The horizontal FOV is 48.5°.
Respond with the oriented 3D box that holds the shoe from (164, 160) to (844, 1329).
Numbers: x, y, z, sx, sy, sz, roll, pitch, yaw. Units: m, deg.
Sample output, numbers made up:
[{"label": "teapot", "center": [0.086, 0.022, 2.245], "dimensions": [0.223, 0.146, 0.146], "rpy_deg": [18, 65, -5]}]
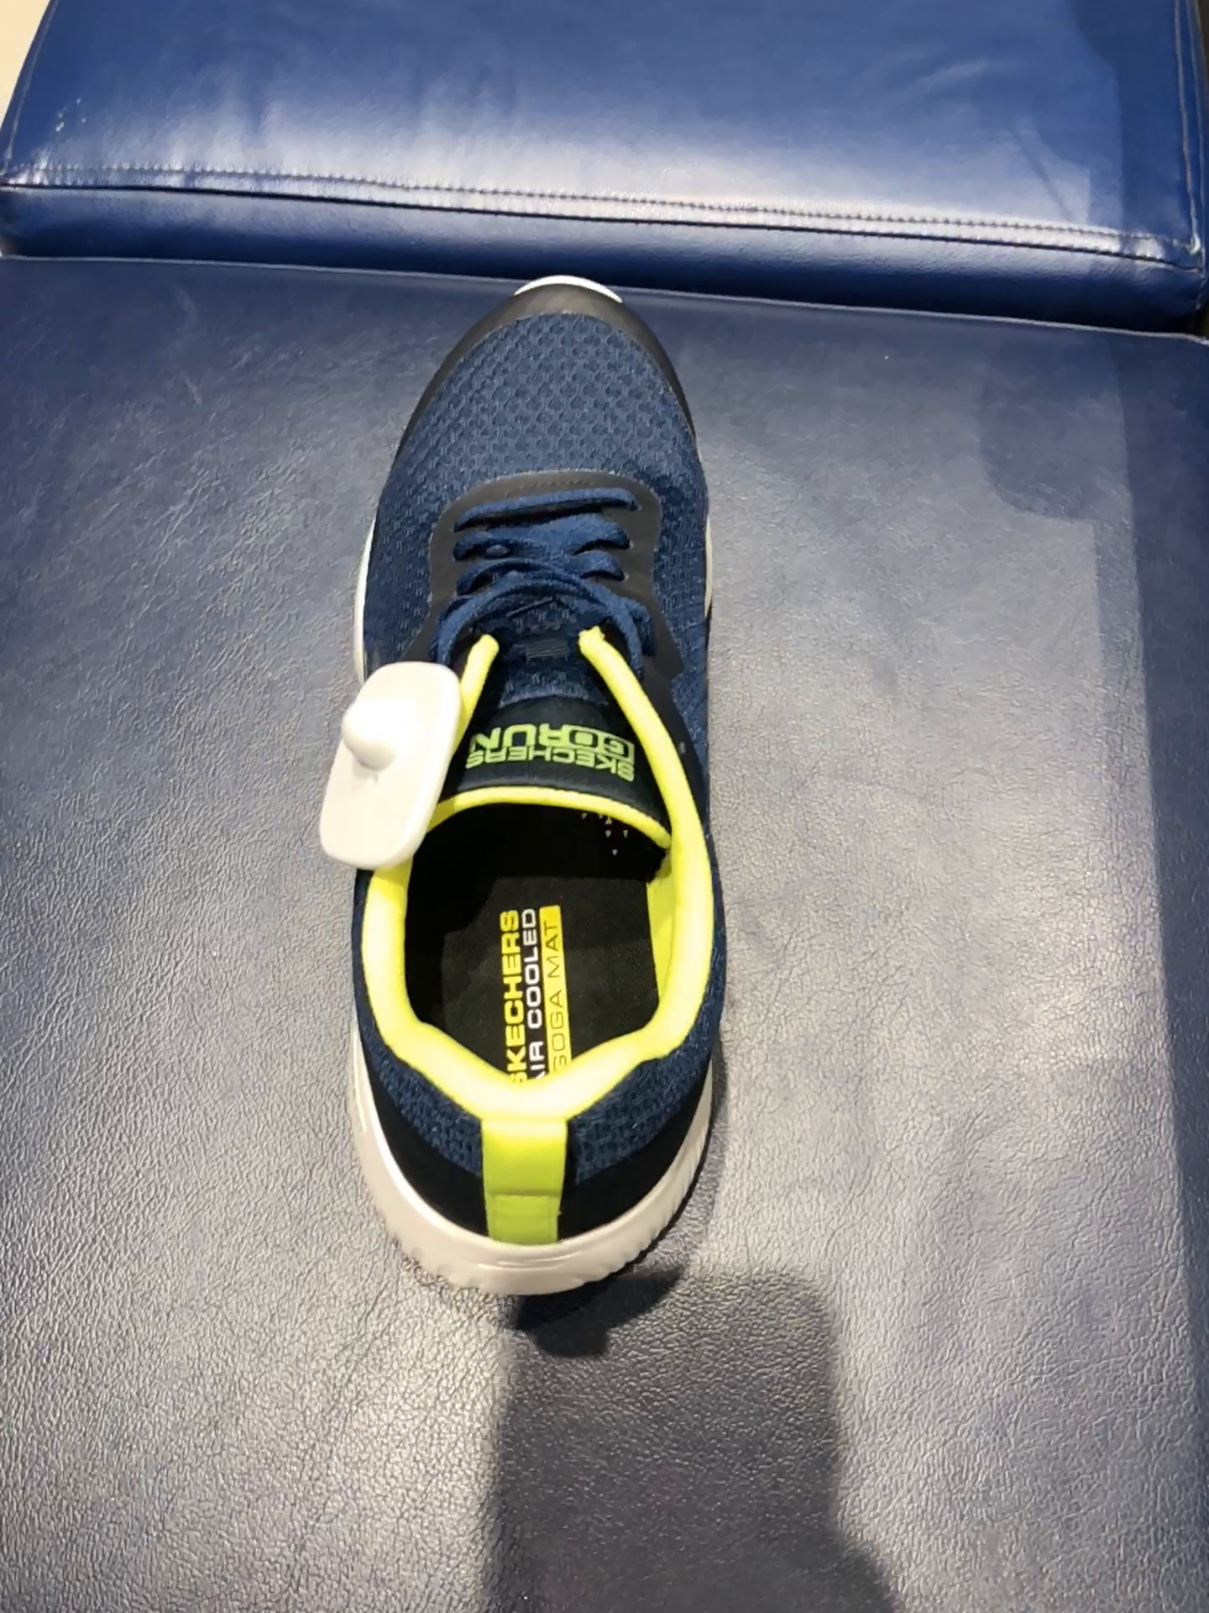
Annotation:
[{"label": "shoe", "center": [-0.022, -0.012, 0.336], "dimensions": [0.113, 0.132, 0.256], "rpy_deg": [-3, 66, -1]}]
